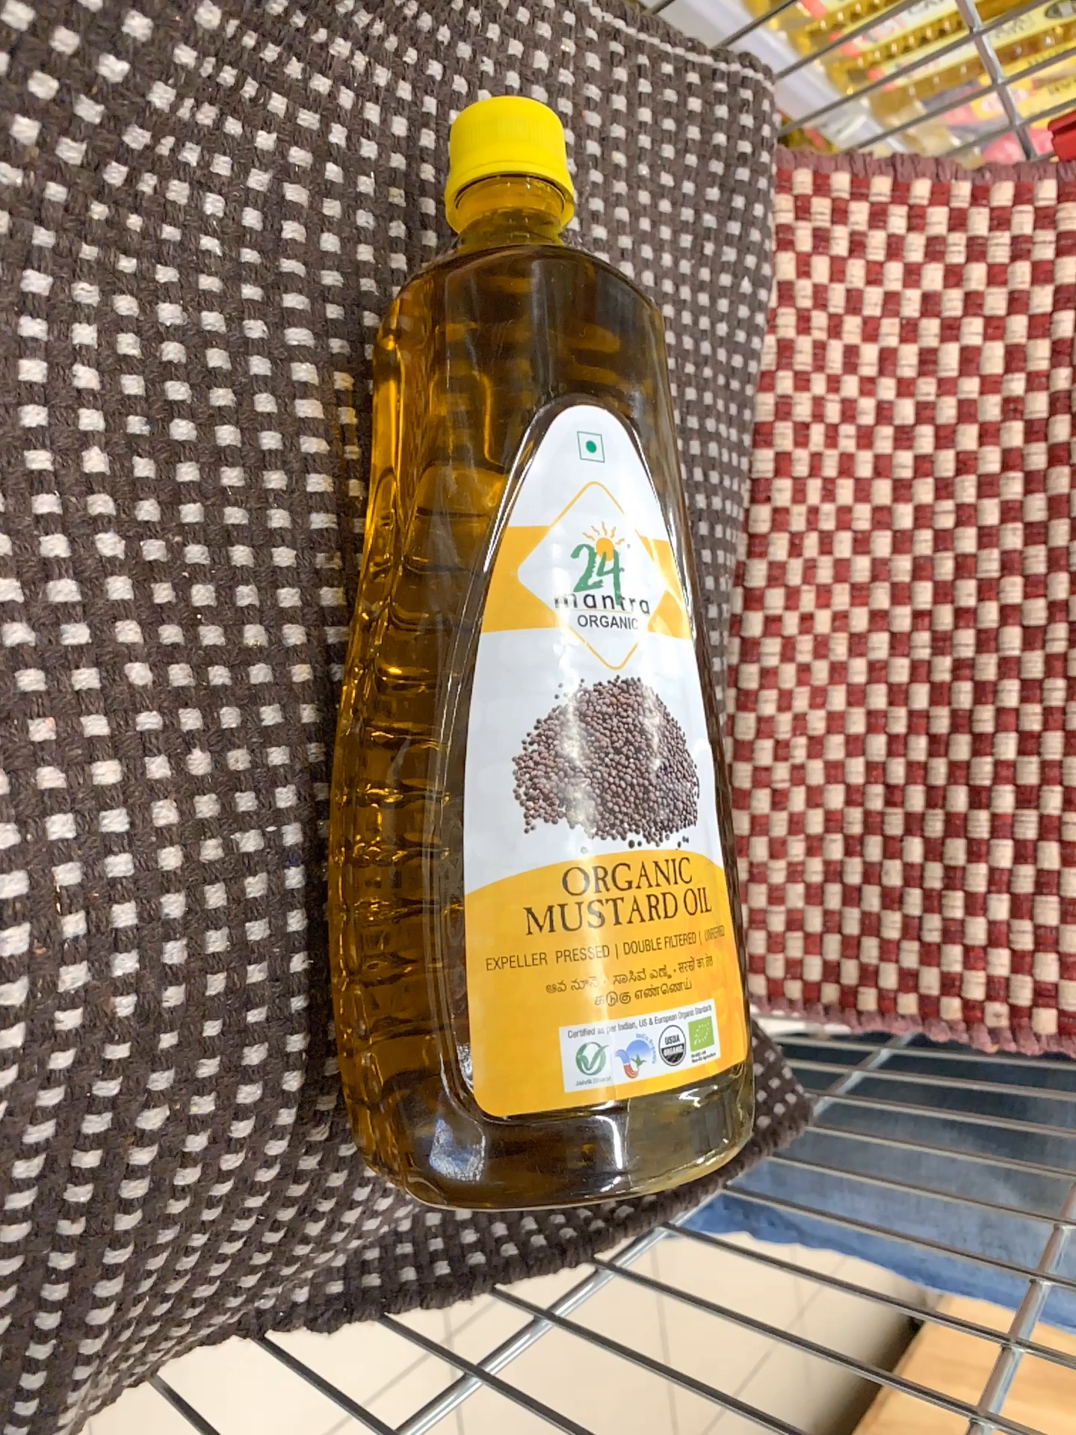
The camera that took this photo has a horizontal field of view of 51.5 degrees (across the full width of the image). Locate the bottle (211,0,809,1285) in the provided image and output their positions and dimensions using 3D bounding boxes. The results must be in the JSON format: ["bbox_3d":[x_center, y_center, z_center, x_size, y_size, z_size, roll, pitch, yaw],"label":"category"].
[{"bbox_3d":[-0.005,-0.027,0.247,0.111,0.060,0.250,1,92,-35],"label":"bottle"}]
